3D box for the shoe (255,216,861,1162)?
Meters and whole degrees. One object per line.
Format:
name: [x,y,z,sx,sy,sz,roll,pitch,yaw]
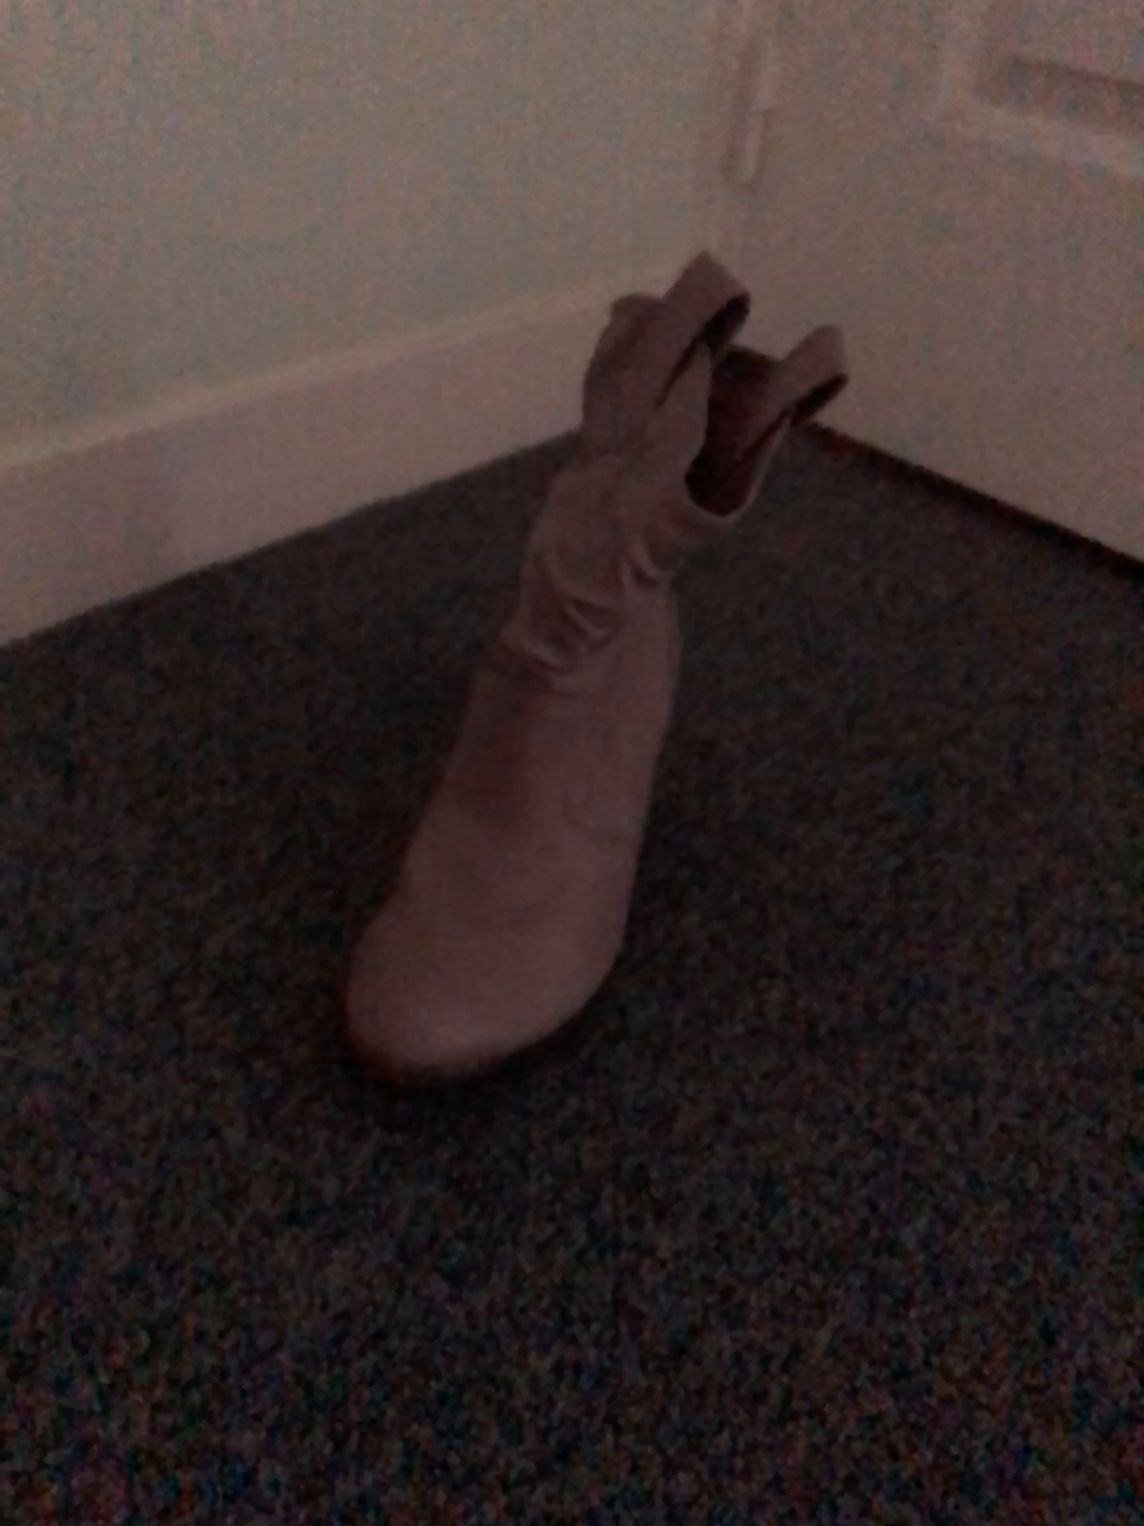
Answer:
shoe: [0.007,-0.040,0.451,0.130,0.219,0.242,12,38,8]
